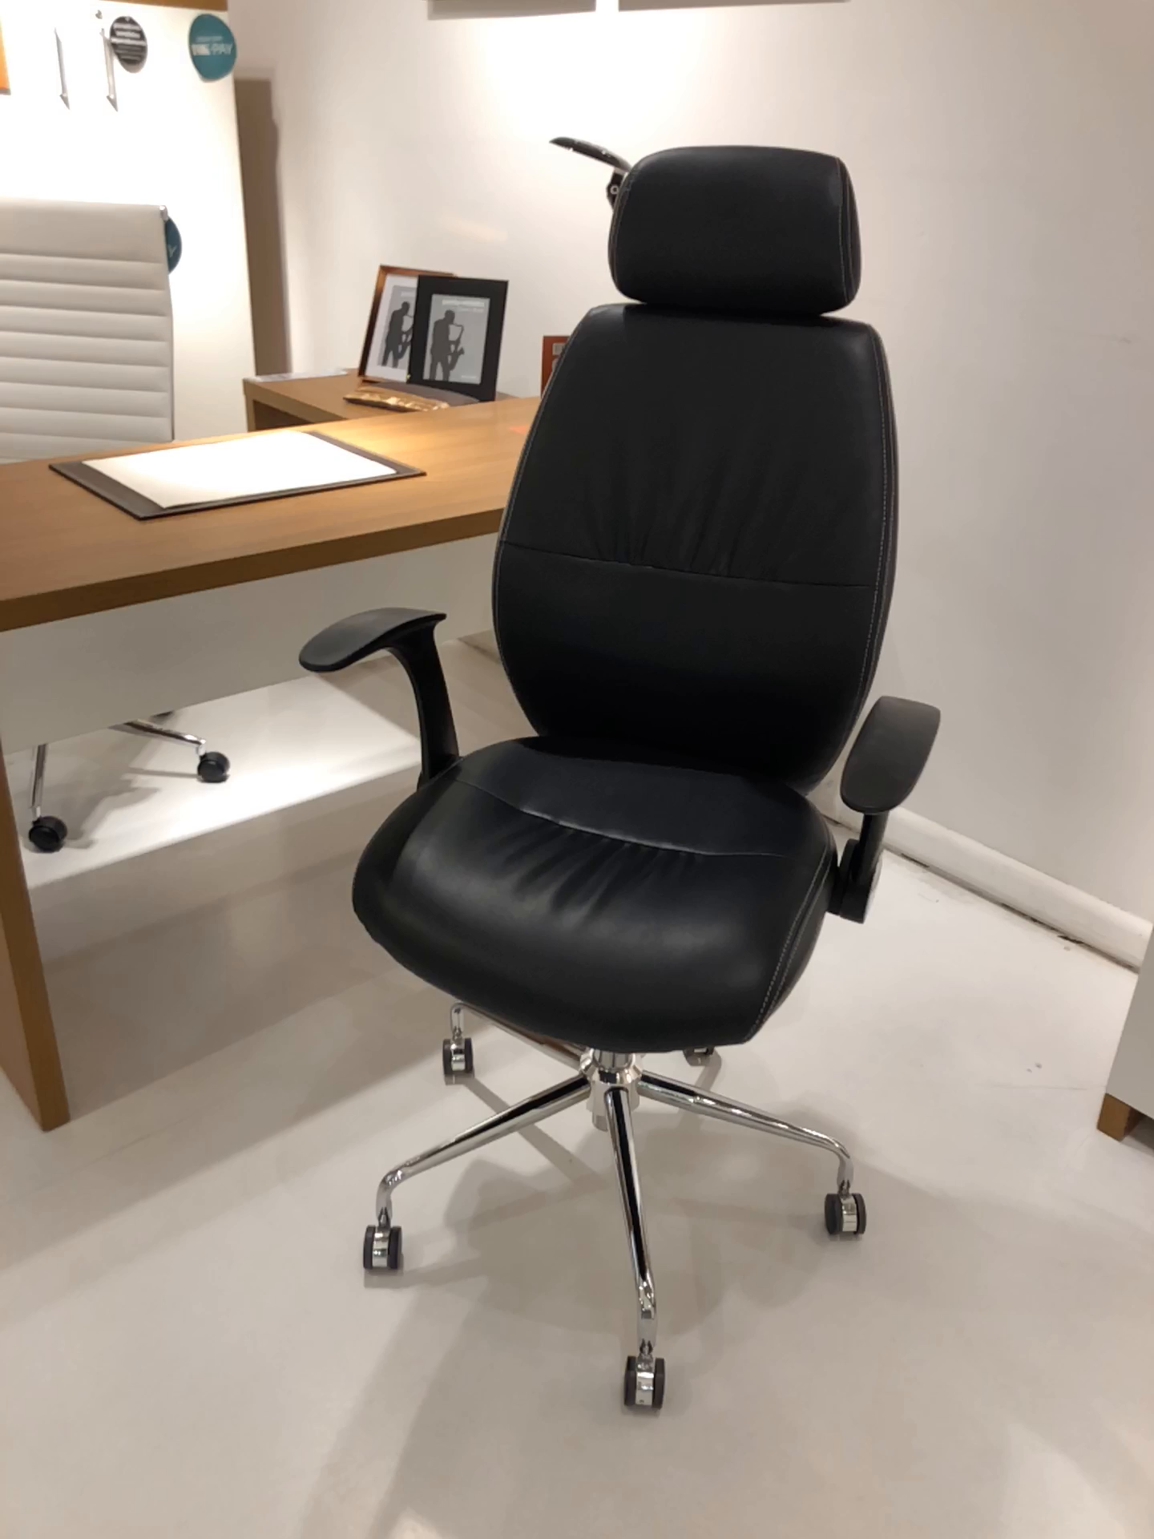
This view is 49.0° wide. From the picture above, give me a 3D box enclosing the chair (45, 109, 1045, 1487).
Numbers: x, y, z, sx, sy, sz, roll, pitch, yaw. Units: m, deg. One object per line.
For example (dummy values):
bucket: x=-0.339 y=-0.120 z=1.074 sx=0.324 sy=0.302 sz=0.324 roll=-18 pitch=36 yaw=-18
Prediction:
chair: x=0.023 y=-0.021 z=1.477 sx=0.691 sy=1.300 sz=0.715 roll=13 pitch=30 yaw=20
